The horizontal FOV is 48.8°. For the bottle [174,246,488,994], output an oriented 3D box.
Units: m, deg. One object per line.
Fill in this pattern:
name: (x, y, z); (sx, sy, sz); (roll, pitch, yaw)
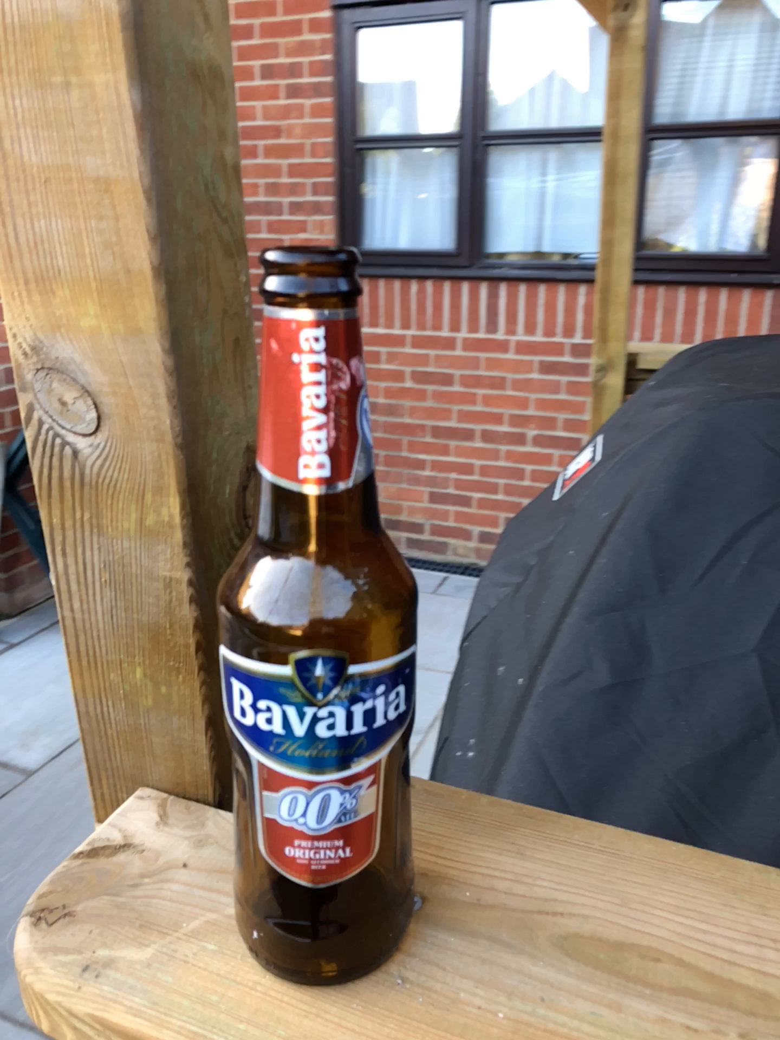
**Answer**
bottle: (-0.013, 0.030, 0.251); (0.070, 0.209, 0.060); (0, 17, 0)
